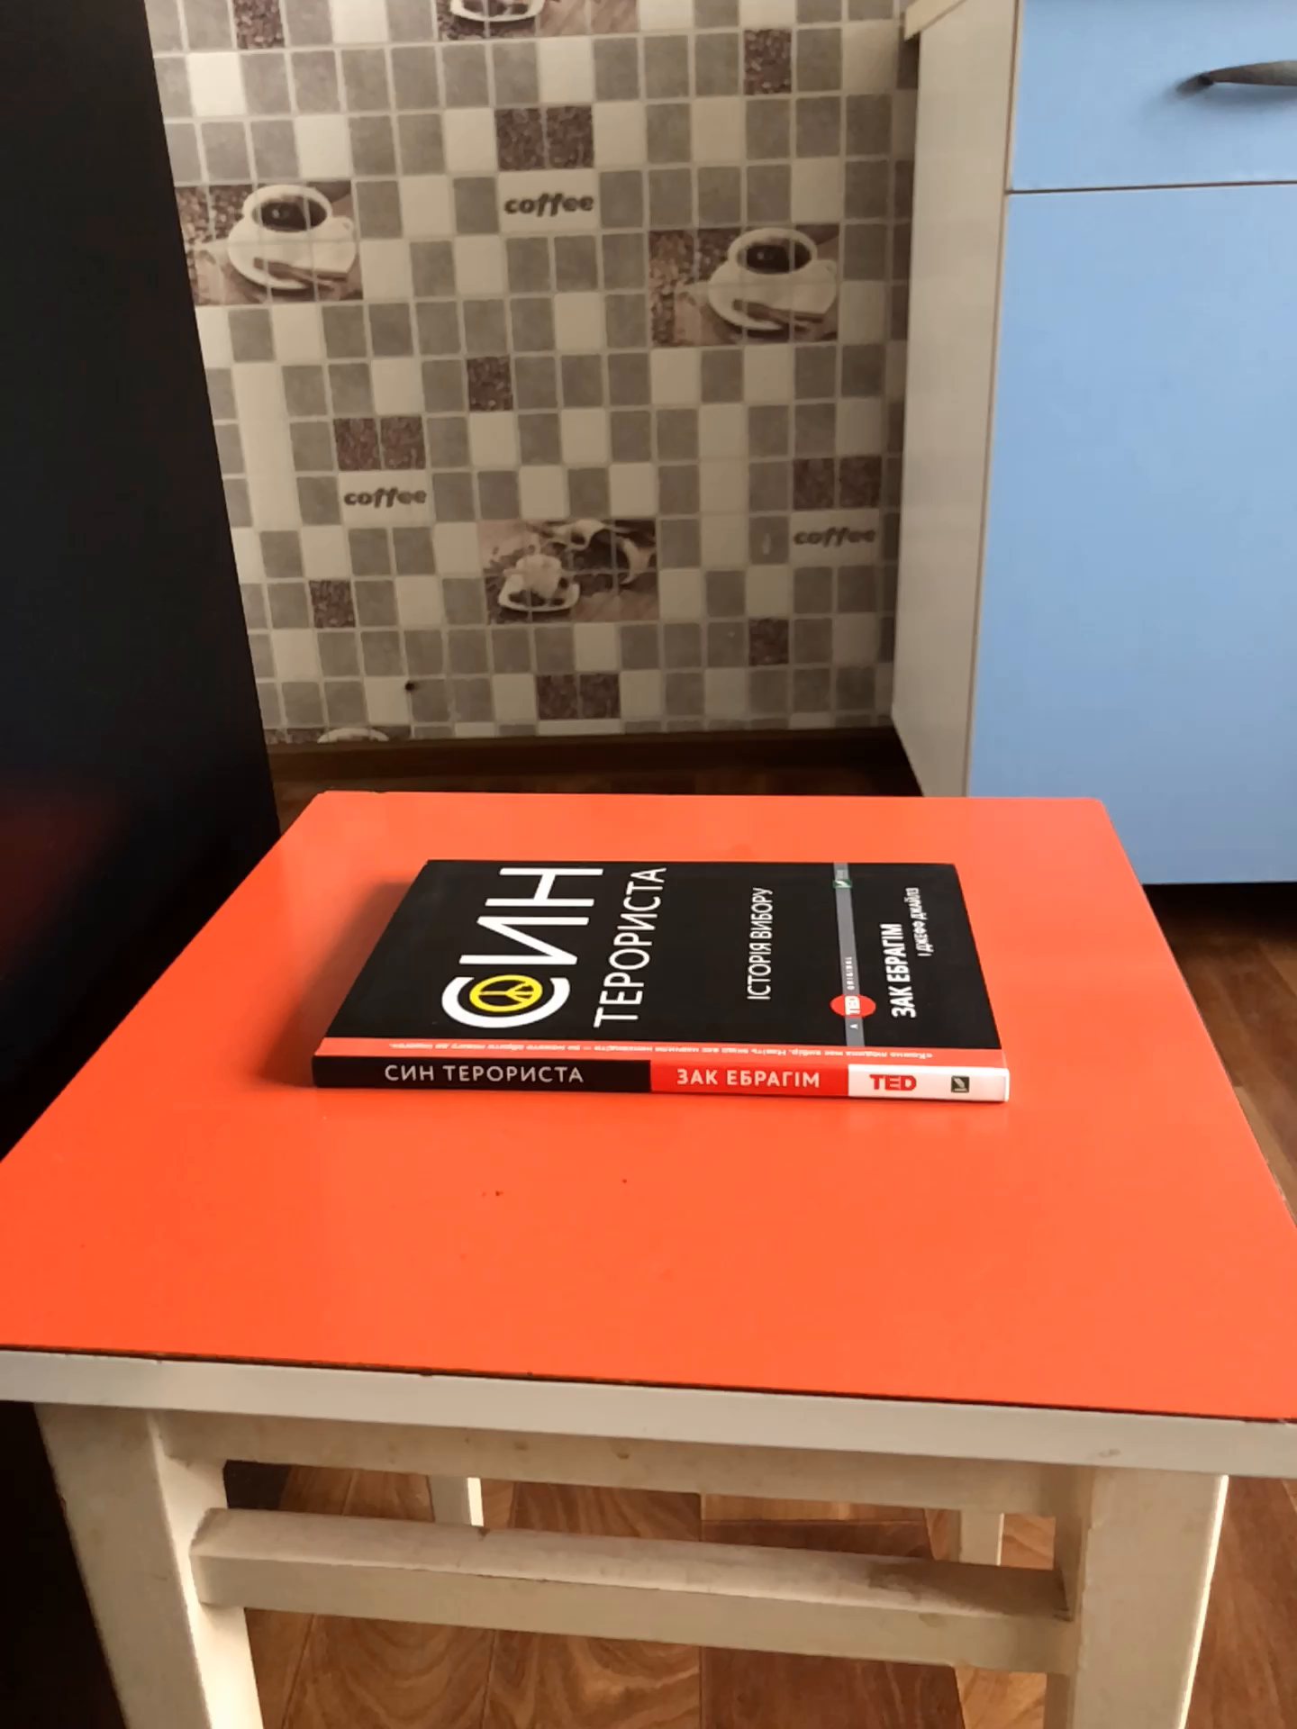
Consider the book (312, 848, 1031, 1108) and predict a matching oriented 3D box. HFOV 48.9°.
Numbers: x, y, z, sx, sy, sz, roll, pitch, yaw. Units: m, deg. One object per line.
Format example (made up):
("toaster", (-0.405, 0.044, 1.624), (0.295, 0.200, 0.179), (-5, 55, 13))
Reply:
("book", (0.011, 0.031, 0.476), (0.205, 0.013, 0.150), (0, 24, 5))
